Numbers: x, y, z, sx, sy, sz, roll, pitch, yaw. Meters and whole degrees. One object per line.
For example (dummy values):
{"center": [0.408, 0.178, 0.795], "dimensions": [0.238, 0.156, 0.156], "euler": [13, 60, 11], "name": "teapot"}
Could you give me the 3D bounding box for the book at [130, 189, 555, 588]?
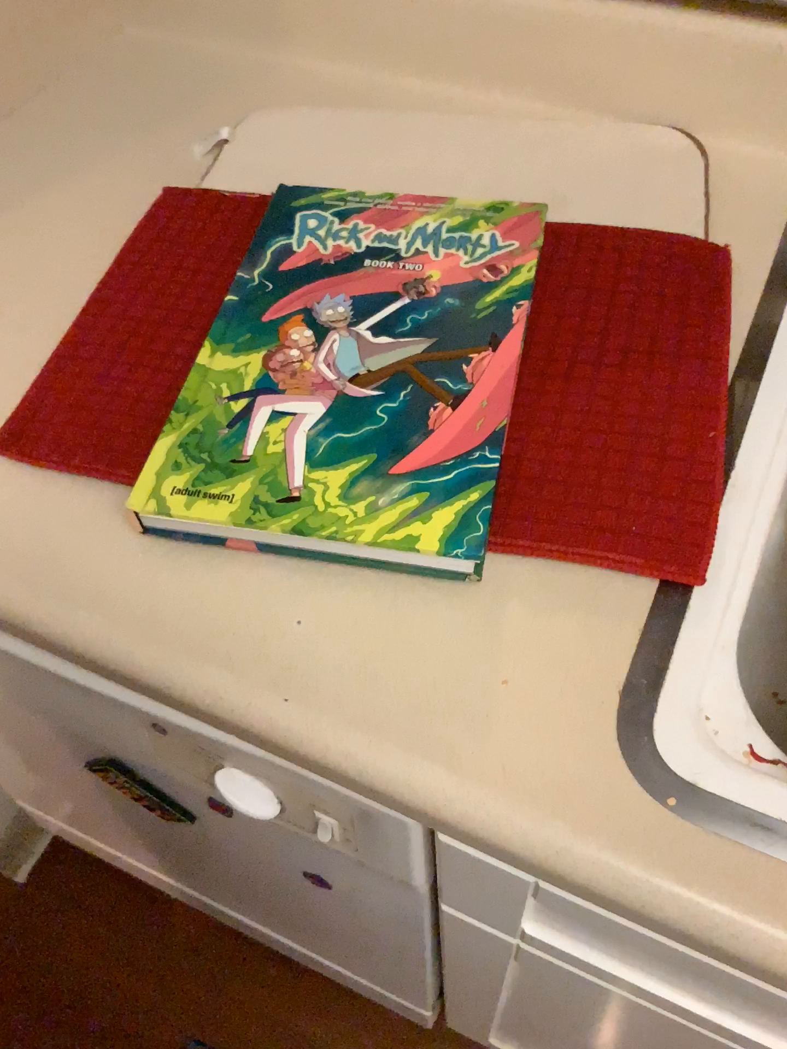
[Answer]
{"center": [-0.015, -0.108, 0.563], "dimensions": [0.200, 0.030, 0.300], "euler": [8, 55, 10], "name": "book"}
